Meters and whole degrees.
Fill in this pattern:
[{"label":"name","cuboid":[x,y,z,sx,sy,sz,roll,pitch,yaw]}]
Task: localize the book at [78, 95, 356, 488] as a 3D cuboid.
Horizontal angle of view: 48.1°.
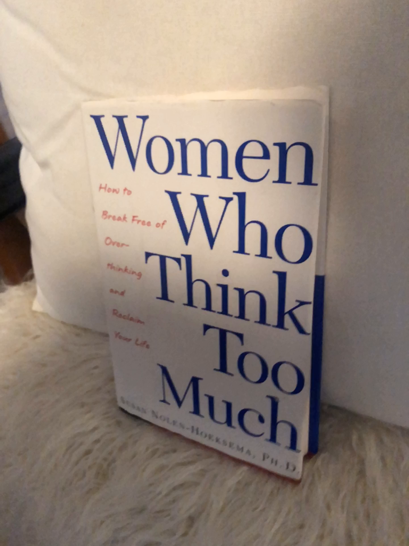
[{"label":"book","cuboid":[0.001,0.007,0.314,0.166,0.241,0.040,11,23,28]}]
